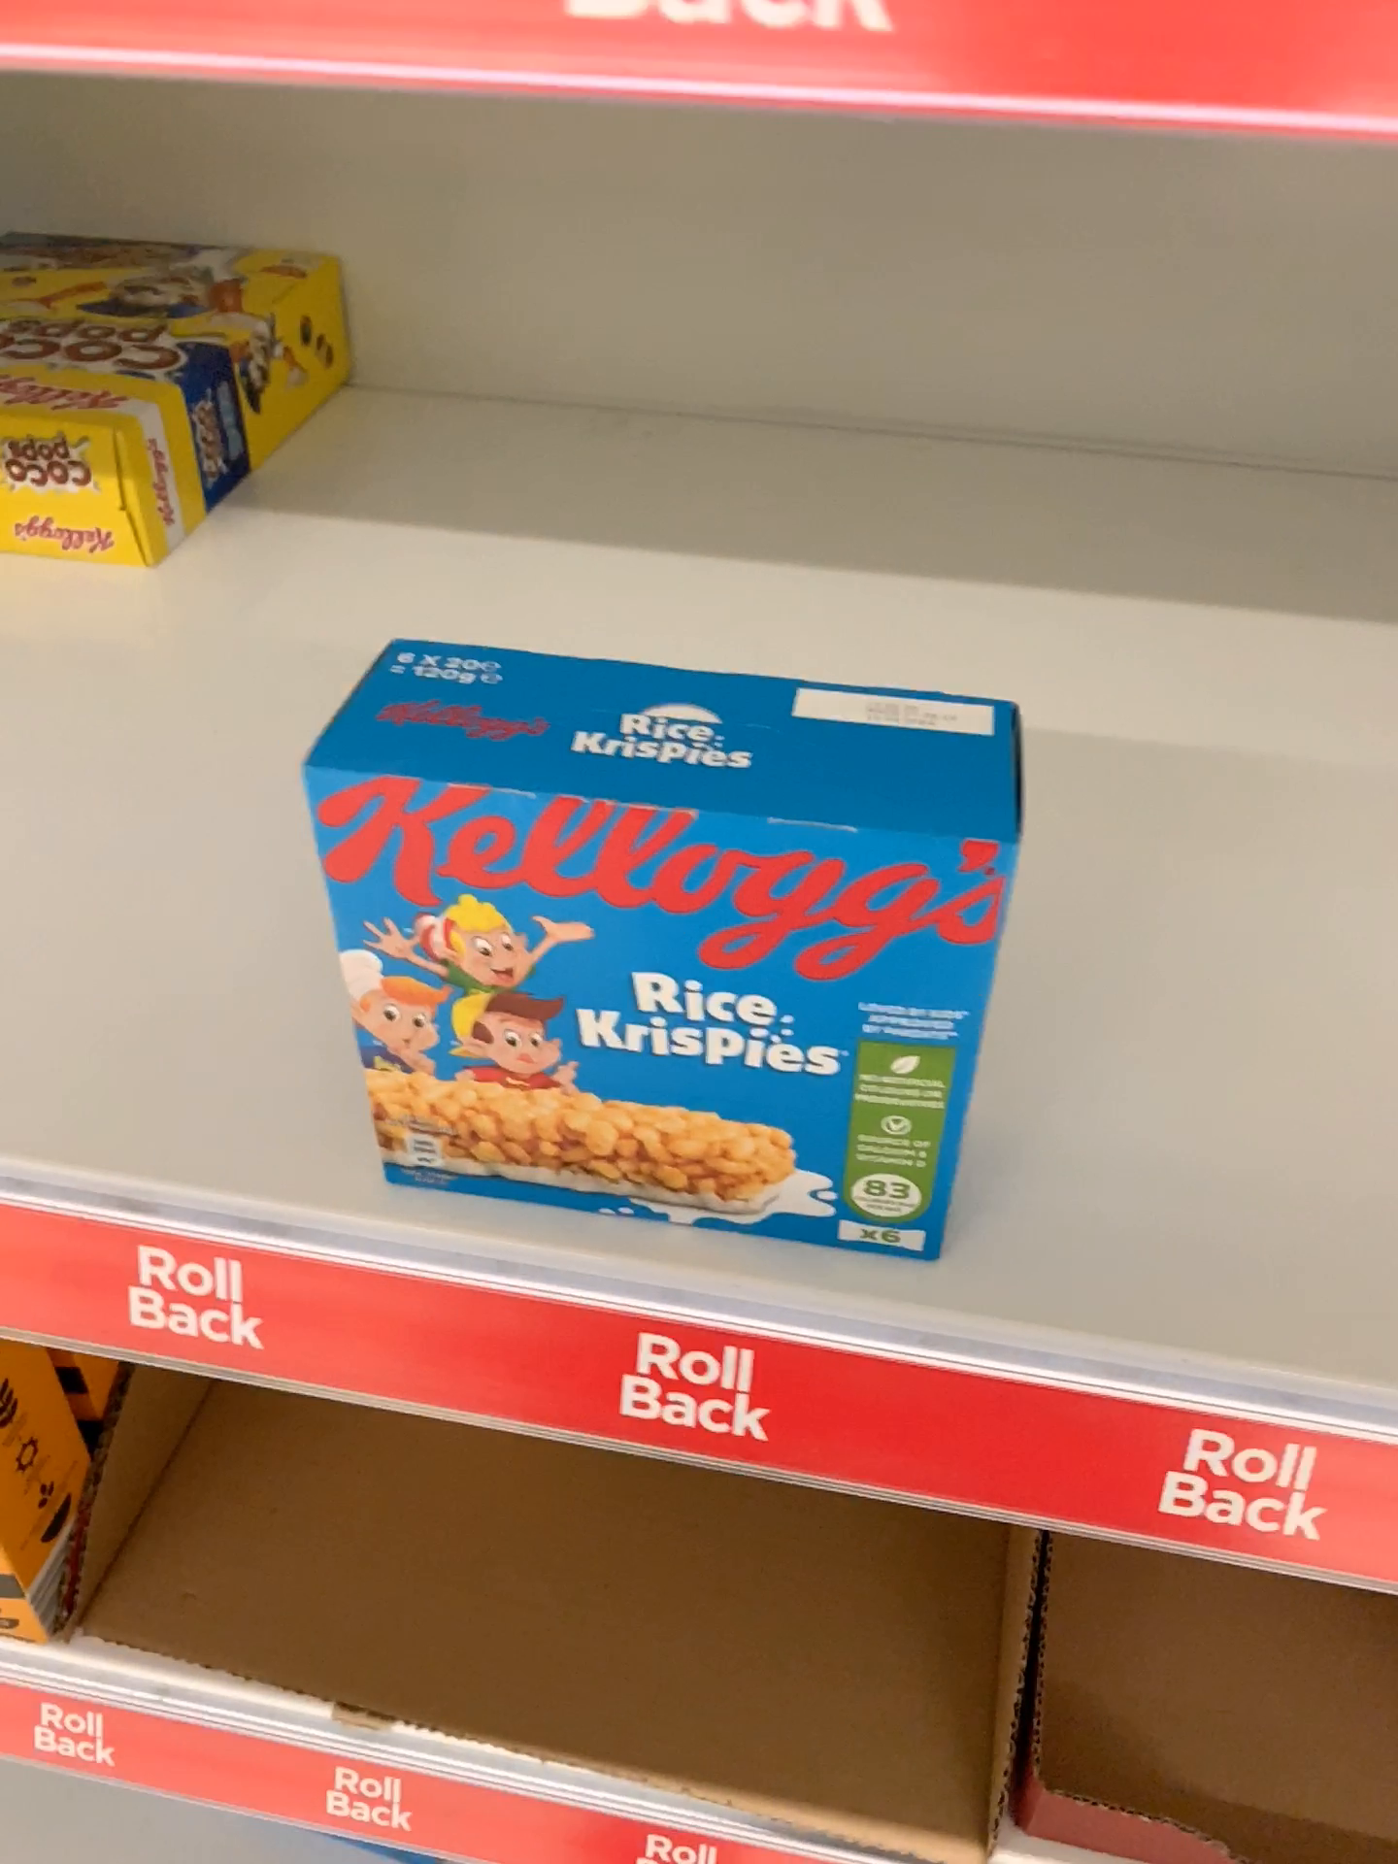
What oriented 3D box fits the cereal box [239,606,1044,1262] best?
[{"bbox_3d":[-0.010,0.004,0.324,0.150,0.129,0.050,7,41,6],"label":"cereal box"}]
